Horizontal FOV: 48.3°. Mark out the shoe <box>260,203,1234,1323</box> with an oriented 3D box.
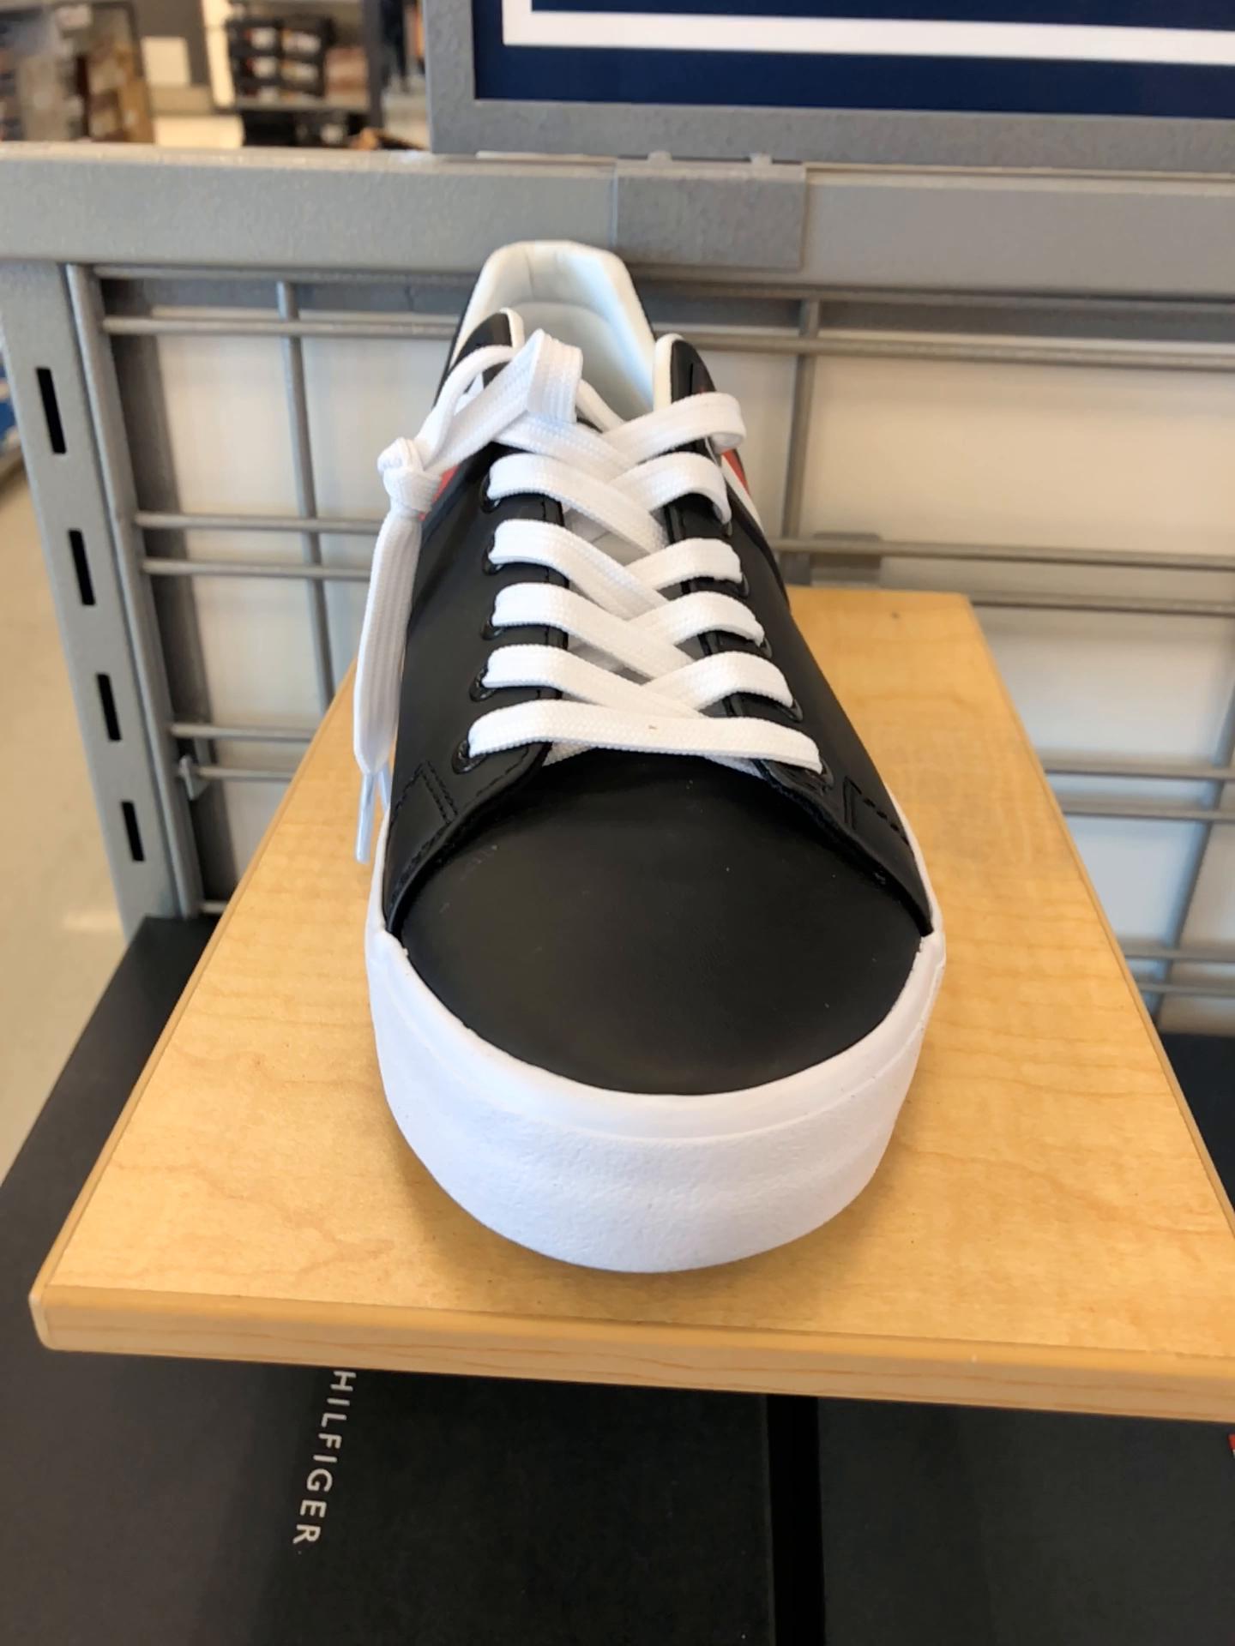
[{"bbox_3d":[0.002,-0.053,0.278,0.100,0.089,0.292,-1,32,-5],"label":"shoe"}]
